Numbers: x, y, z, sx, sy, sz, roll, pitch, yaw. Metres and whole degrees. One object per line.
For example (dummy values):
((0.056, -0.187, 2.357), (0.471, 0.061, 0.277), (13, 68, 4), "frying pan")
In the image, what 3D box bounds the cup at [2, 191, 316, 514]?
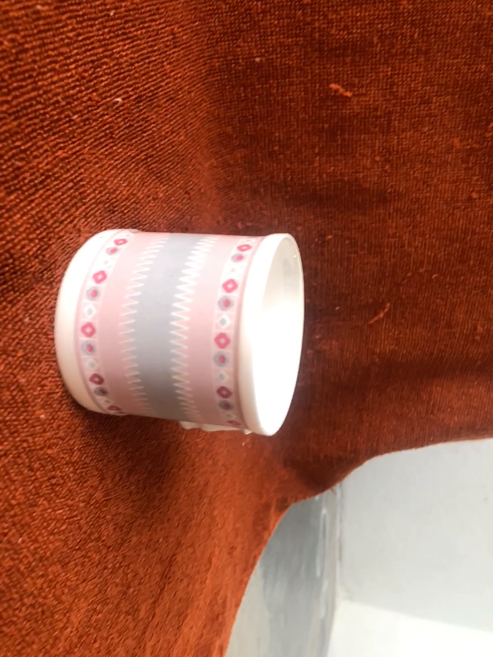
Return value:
((-0.018, 0.009, 0.190), (0.090, 0.070, 0.060), (79, 22, -46), "cup")
